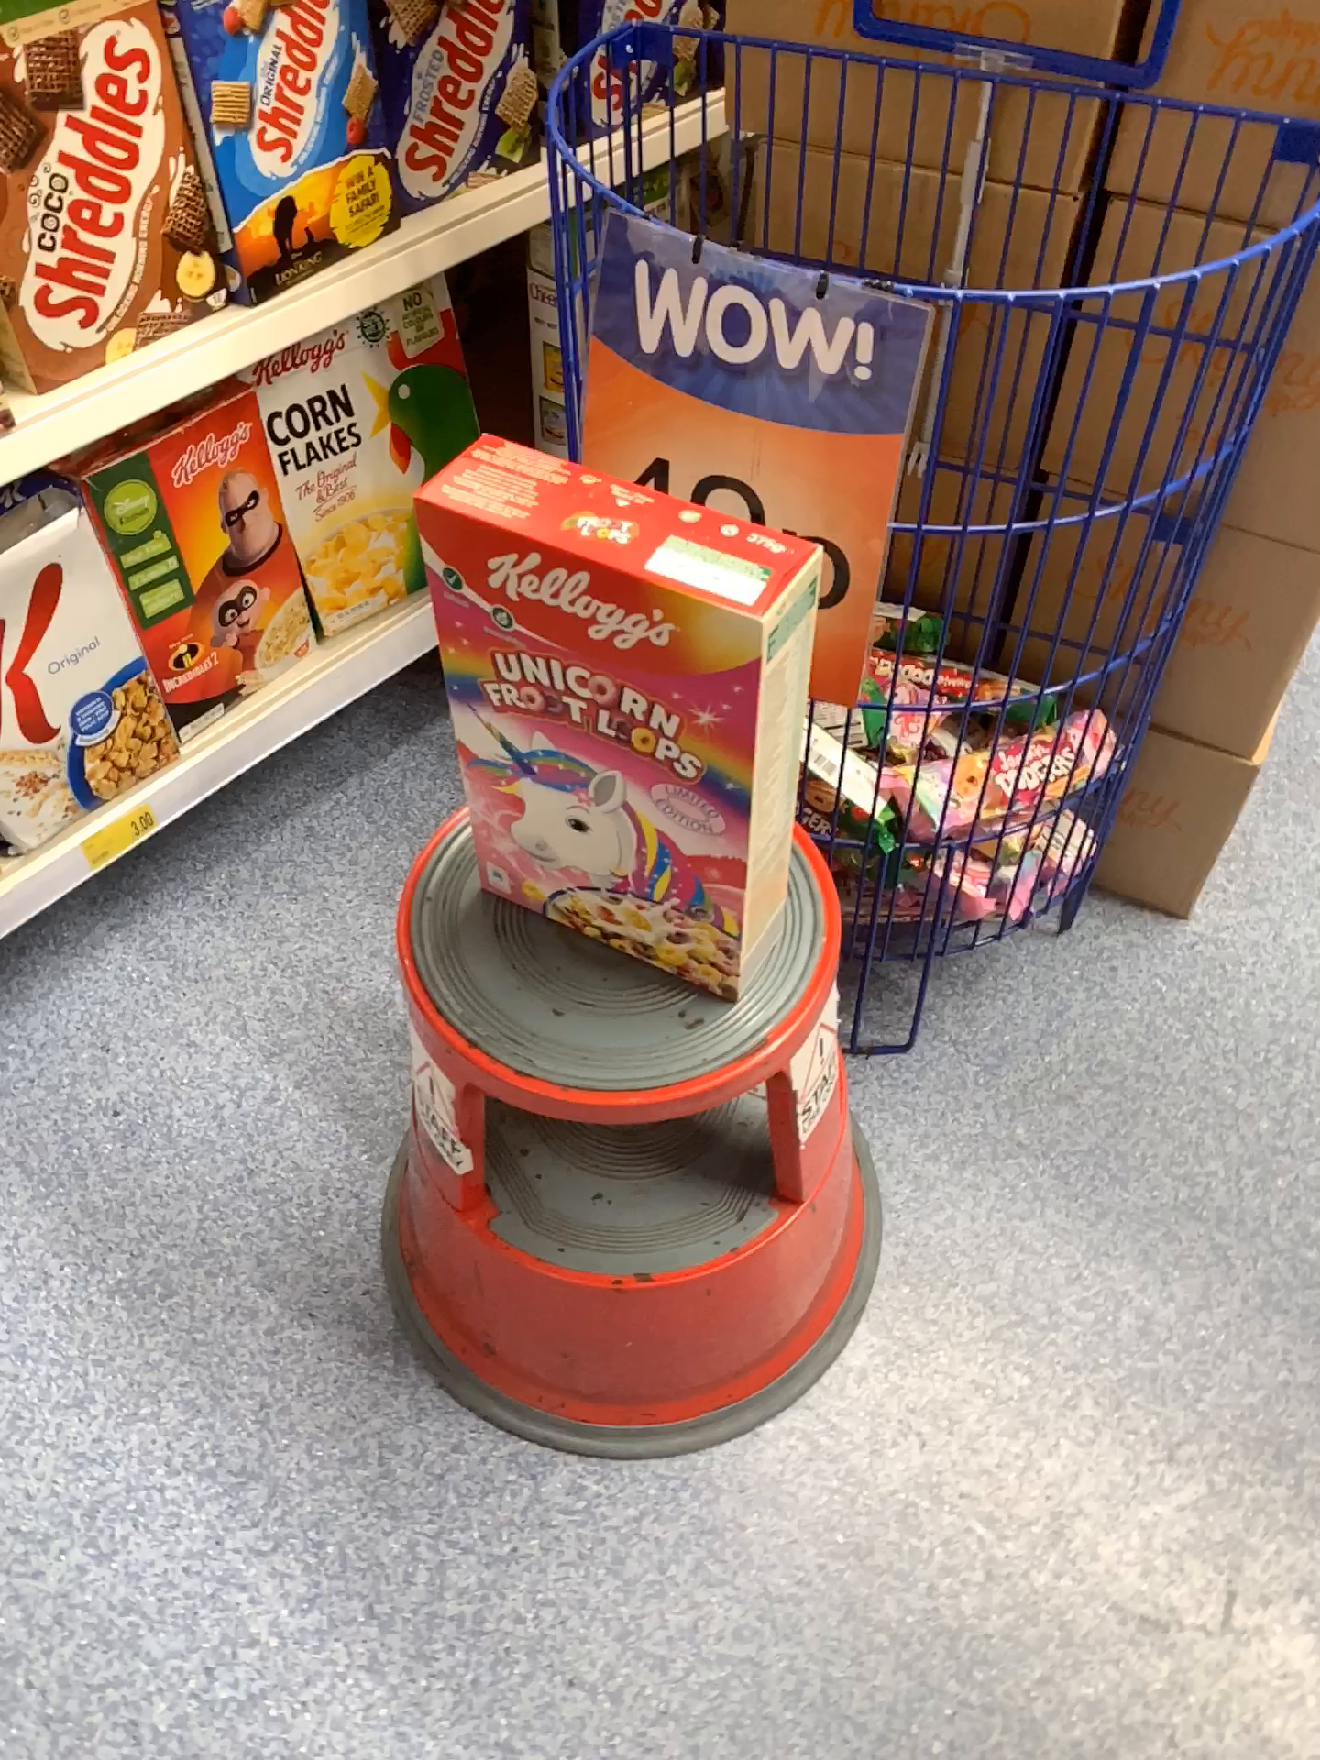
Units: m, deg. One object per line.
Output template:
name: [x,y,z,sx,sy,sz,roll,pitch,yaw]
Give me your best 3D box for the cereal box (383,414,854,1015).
cereal box: [-0.022,-0.077,0.725,0.211,0.287,0.070,23,53,18]
